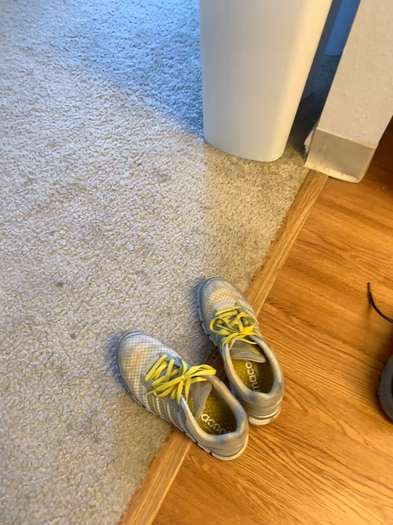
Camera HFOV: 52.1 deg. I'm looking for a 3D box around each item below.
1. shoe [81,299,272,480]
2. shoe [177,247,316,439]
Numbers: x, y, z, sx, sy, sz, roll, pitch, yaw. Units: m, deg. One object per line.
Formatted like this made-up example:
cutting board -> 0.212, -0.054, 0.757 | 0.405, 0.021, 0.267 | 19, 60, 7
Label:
shoe -> -0.032, 0.179, 0.567 | 0.251, 0.130, 0.080 | 35, 65, 18
shoe -> 0.067, 0.117, 0.616 | 0.090, 0.090, 0.261 | -24, 62, -6
